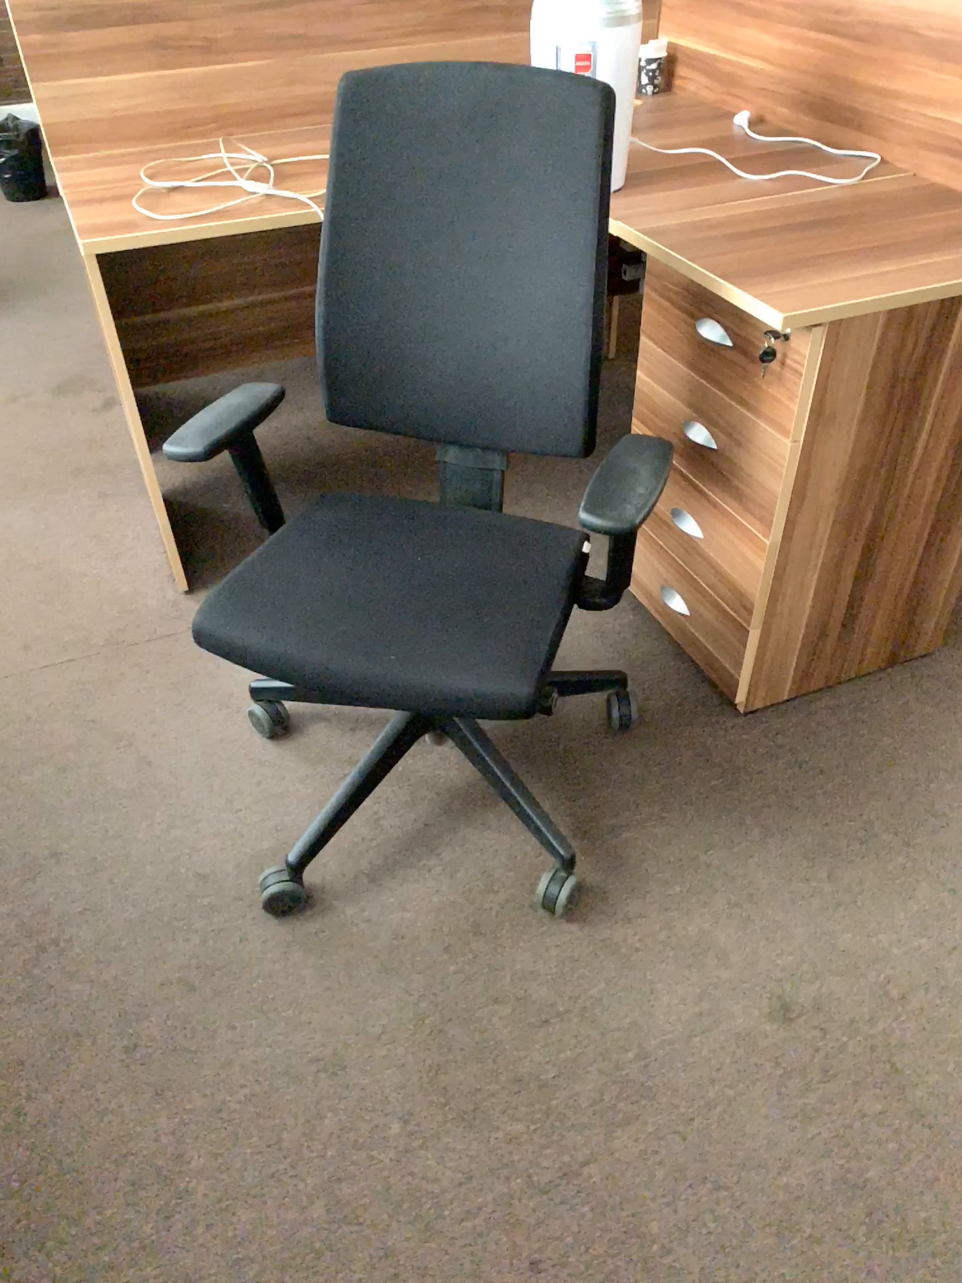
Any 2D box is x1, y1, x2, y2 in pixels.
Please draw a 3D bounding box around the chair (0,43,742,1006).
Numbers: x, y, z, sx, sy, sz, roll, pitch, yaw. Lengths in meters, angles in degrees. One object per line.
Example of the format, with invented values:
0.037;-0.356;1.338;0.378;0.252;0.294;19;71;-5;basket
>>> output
-0.105;-0.200;1.312;0.670;0.915;0.793;11;41;15;chair
